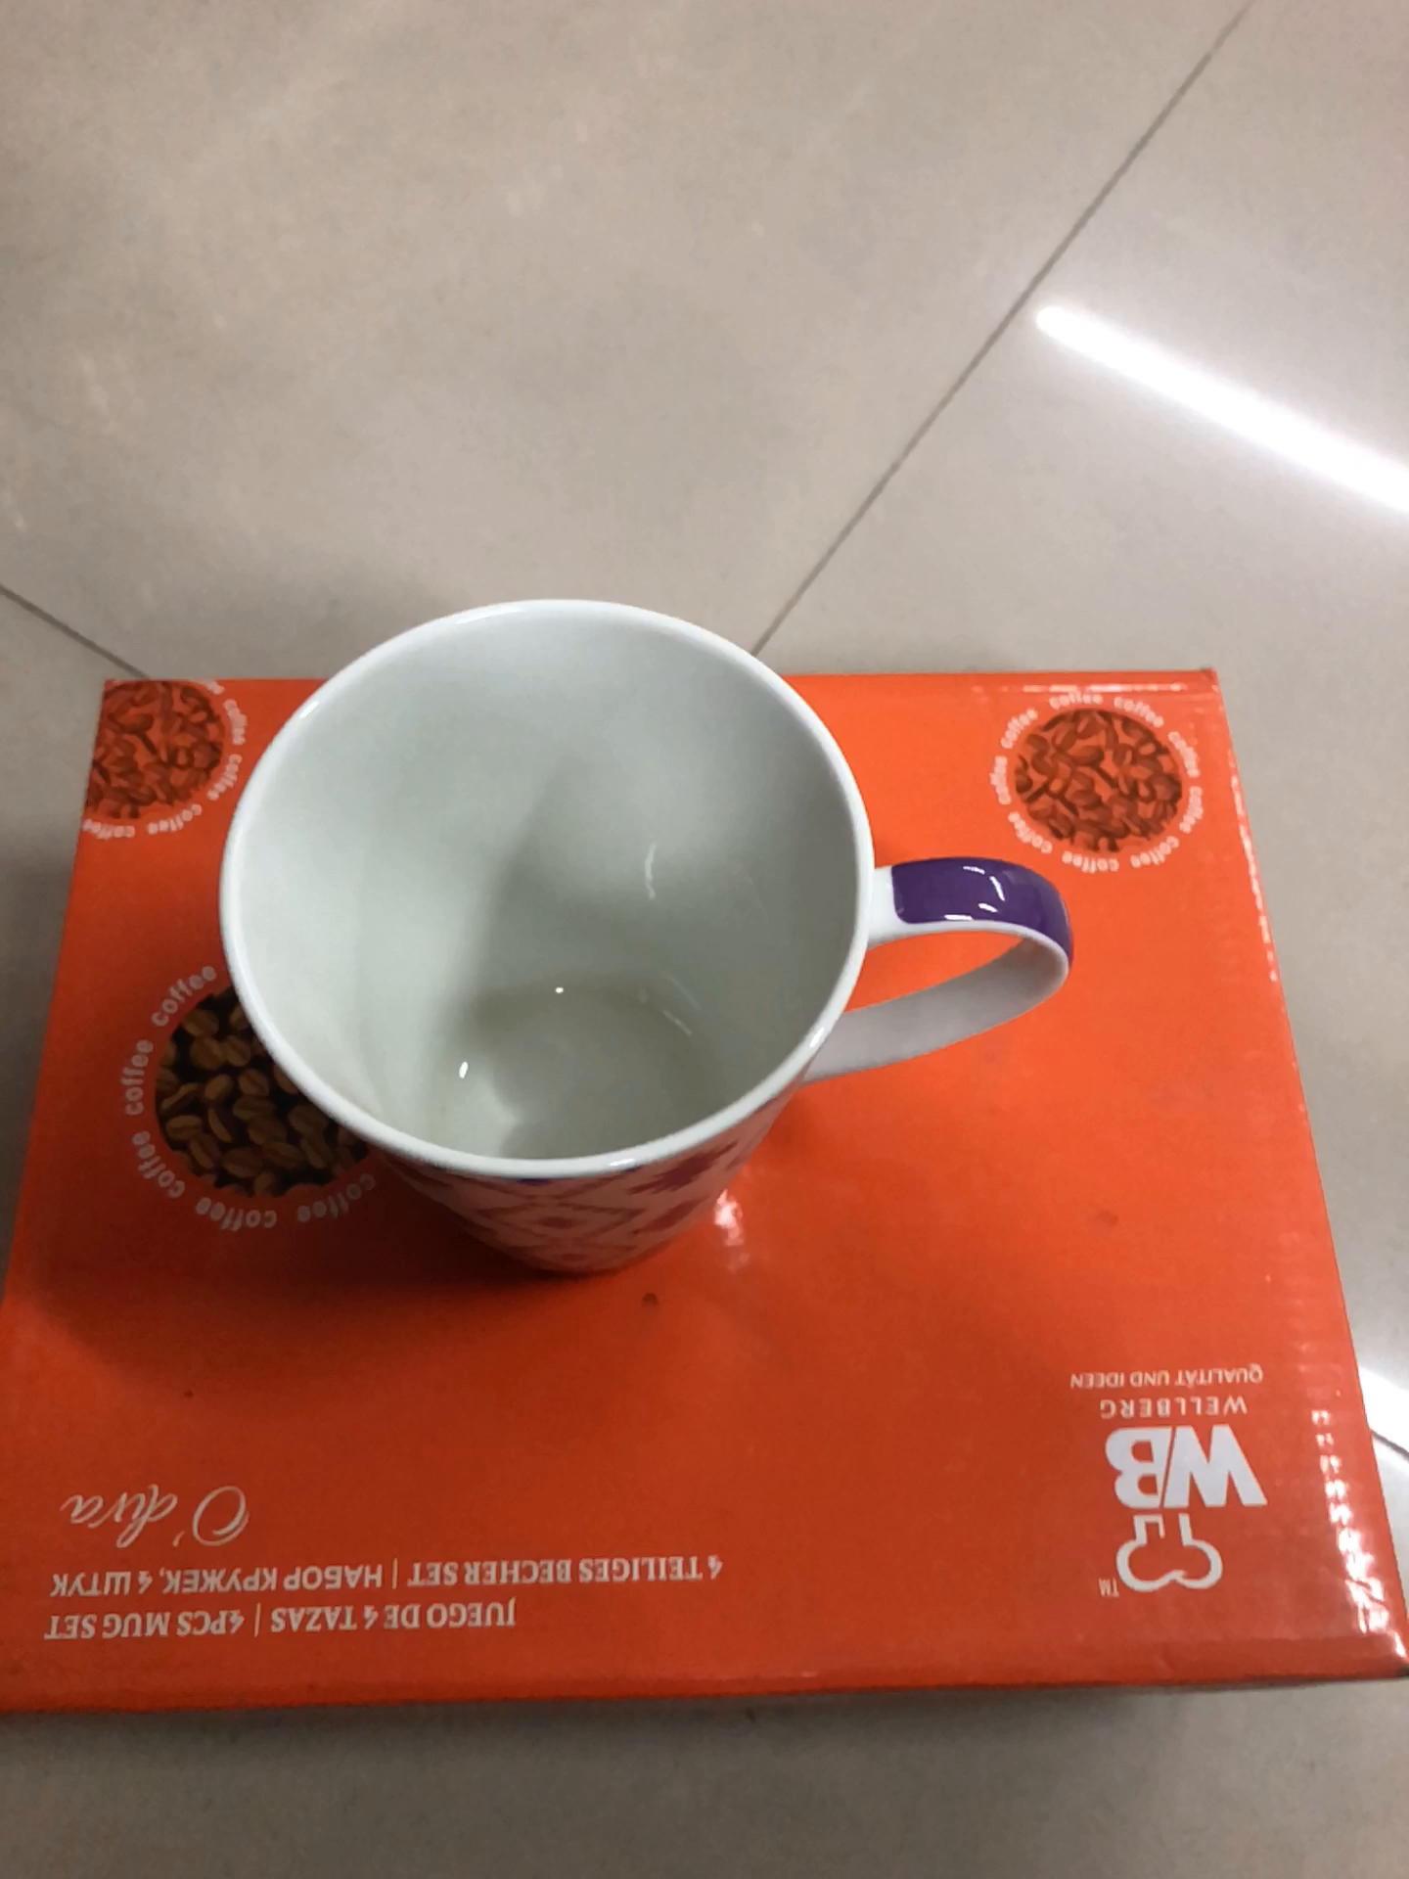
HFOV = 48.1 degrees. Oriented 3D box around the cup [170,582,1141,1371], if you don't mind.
[{"bbox_3d":[-0.009,0.012,0.240,0.110,0.100,0.080,-4,66,-3],"label":"cup"}]
